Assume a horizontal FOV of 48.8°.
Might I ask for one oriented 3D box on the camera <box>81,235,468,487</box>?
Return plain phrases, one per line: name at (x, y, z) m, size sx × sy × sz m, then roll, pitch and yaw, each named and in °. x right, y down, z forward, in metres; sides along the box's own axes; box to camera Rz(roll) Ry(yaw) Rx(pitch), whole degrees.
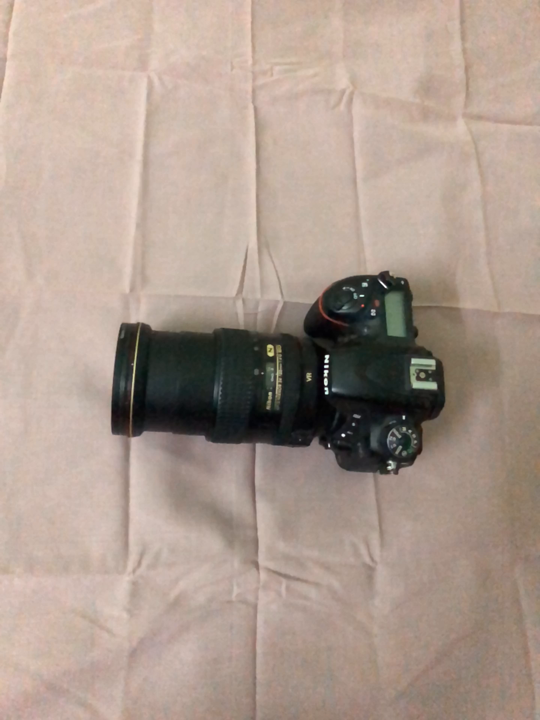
camera at (0.000, 0.012, 0.421) m, size 0.232 × 0.110 × 0.139 m, roll 4°, pitch 73°, yaw -11°
